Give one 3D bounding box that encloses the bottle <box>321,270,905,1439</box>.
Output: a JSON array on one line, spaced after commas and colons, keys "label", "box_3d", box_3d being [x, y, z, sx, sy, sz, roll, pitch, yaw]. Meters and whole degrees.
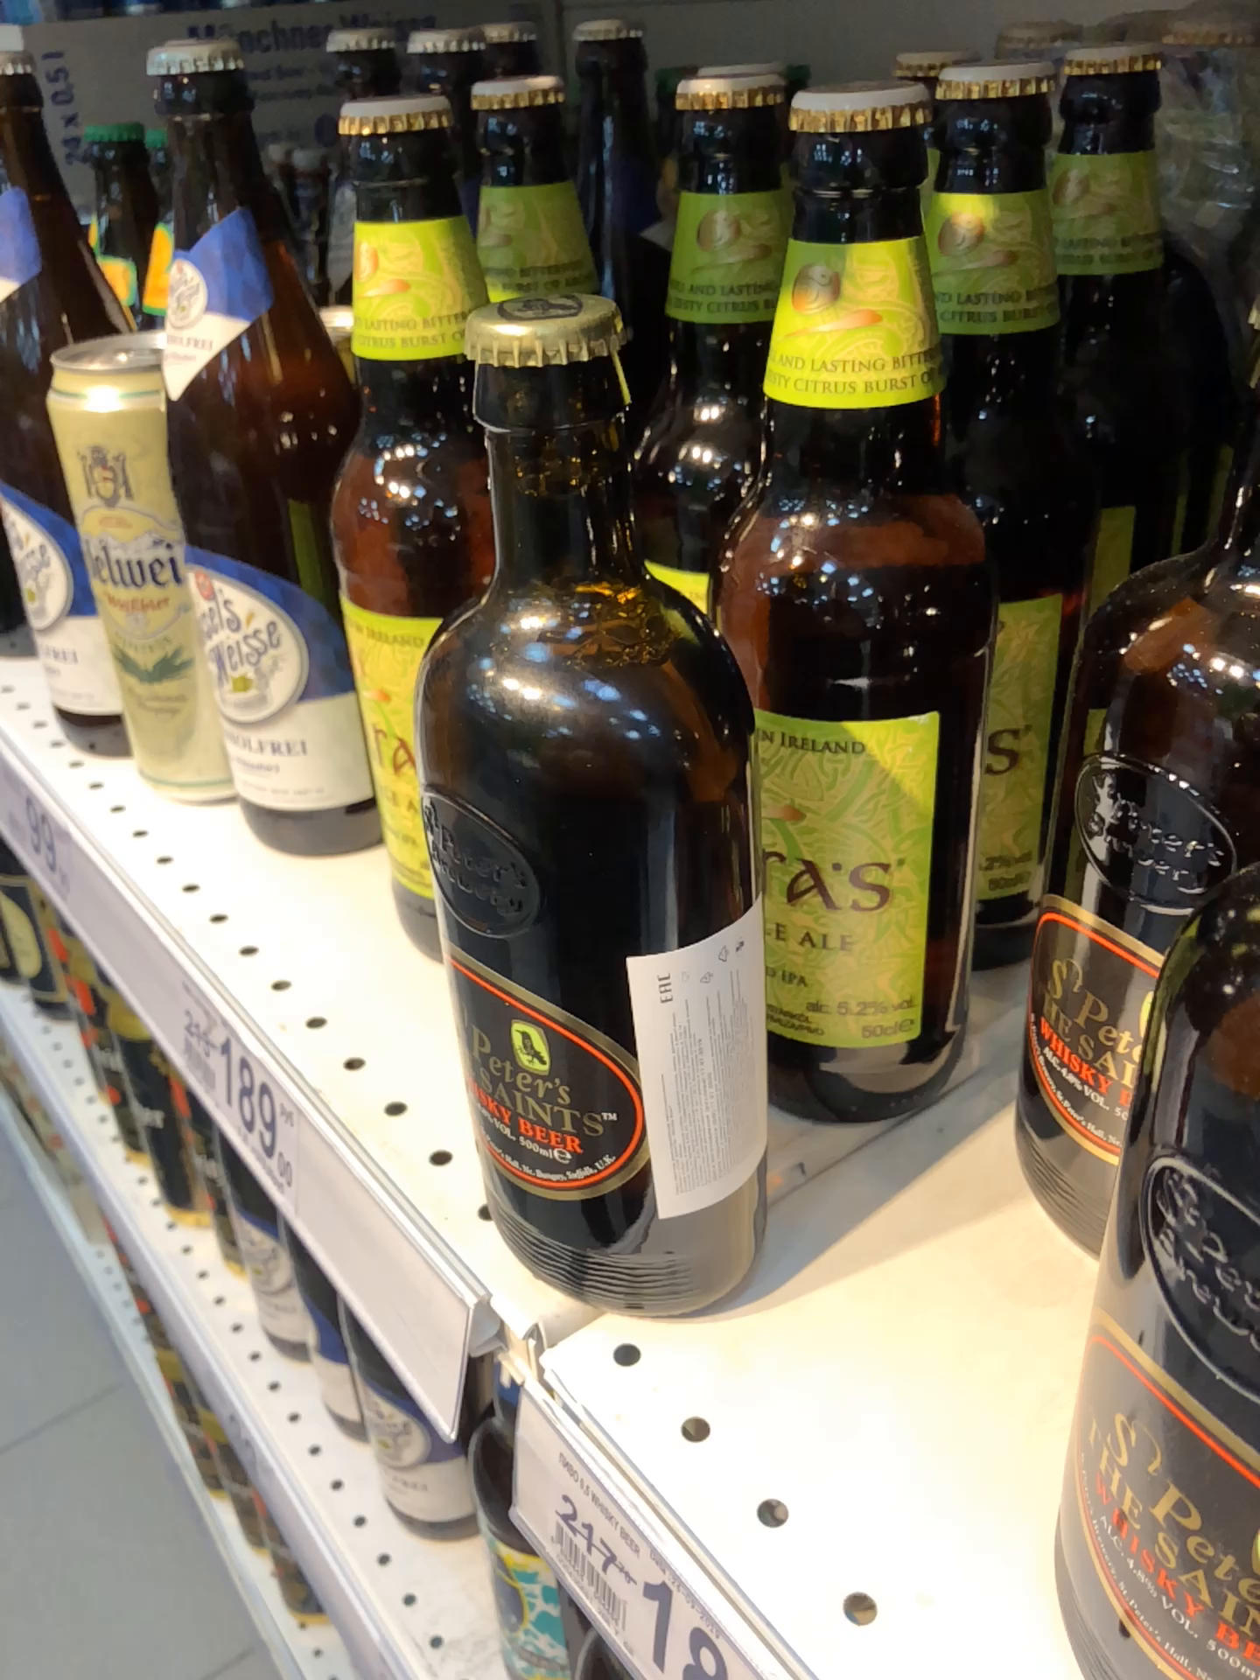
[{"label": "bottle", "box_3d": [-0.001, 0.008, 0.302, 0.060, 0.229, 0.090, -23, 36, -30]}]
